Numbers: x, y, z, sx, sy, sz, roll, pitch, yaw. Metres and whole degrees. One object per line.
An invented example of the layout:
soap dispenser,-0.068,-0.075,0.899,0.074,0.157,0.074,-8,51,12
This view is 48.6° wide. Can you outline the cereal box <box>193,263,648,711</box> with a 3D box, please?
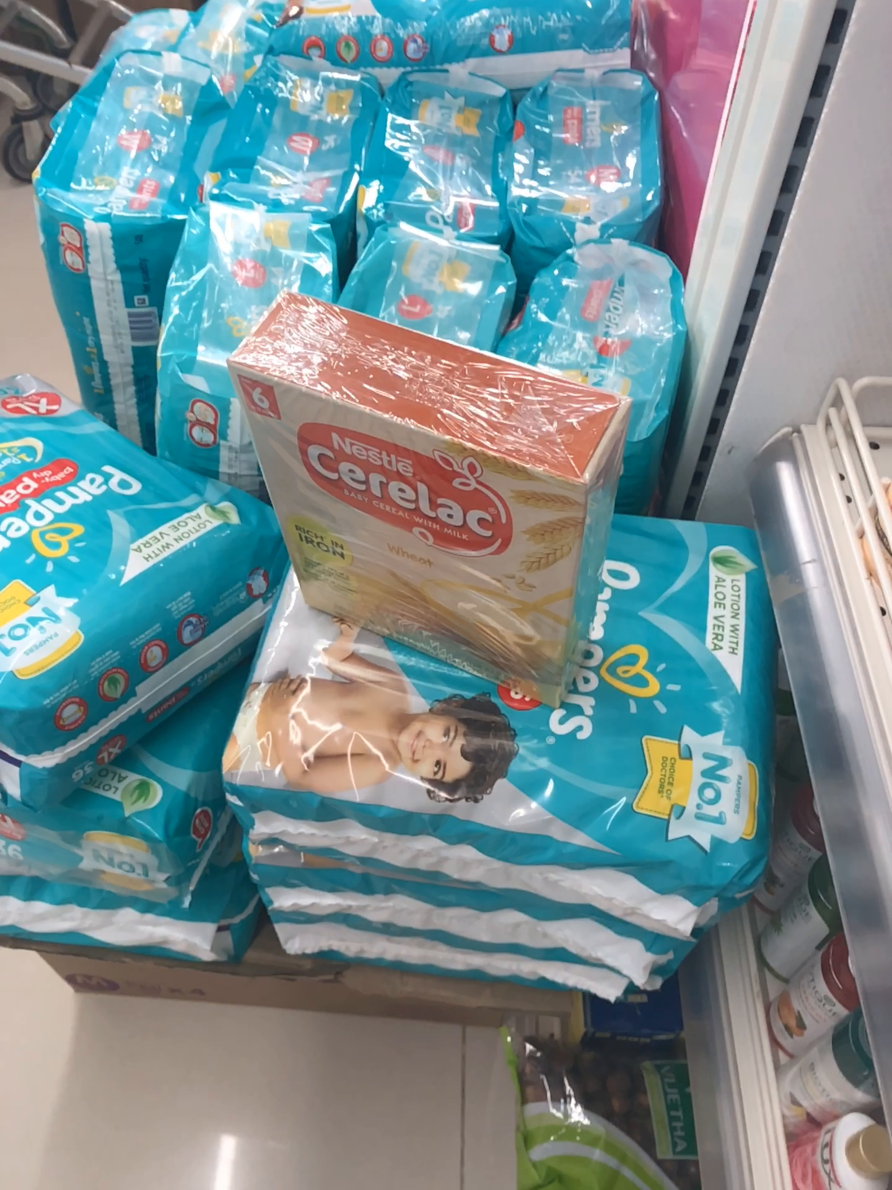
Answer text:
cereal box,-0.007,-0.037,0.436,0.160,0.179,0.050,21,62,15
